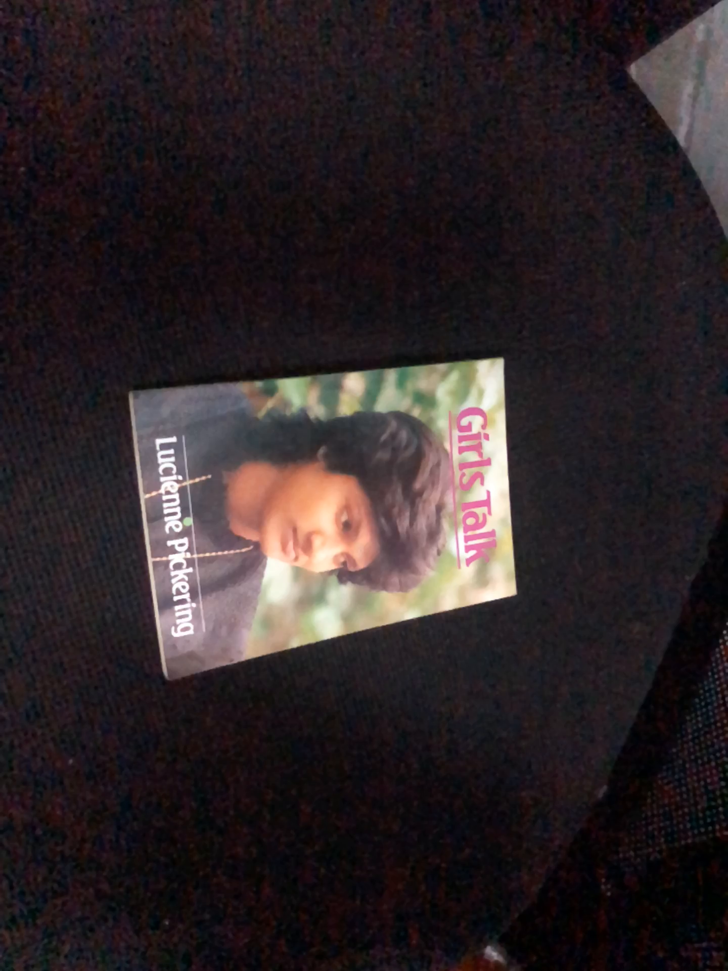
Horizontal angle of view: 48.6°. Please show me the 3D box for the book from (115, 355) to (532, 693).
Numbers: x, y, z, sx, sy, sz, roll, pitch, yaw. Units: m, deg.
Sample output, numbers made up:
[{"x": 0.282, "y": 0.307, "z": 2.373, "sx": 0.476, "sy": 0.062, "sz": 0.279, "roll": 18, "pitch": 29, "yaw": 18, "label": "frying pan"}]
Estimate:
[{"x": -0.006, "y": 0.011, "z": 0.382, "sx": 0.201, "sy": 0.010, "sz": 0.130, "roll": -8, "pitch": 100, "yaw": -26, "label": "book"}]
